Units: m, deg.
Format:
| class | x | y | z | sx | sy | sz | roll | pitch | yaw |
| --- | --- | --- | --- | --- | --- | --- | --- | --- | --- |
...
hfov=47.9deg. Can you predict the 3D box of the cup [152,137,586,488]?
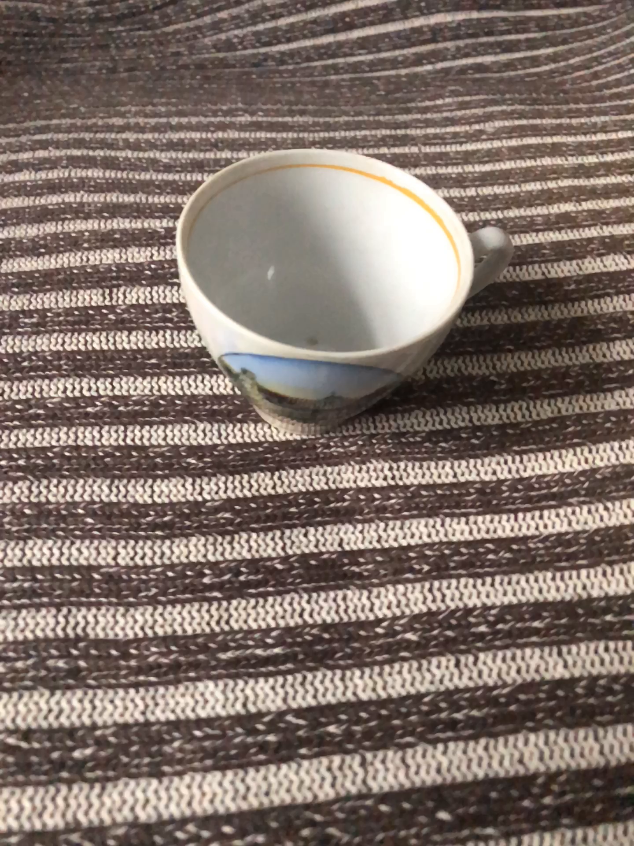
| class | x | y | z | sx | sy | sz | roll | pitch | yaw |
| --- | --- | --- | --- | --- | --- | --- | --- | --- | --- |
| cup | 0.007 | -0.028 | 0.168 | 0.079 | 0.042 | 0.061 | -8 | 59 | -12 |
